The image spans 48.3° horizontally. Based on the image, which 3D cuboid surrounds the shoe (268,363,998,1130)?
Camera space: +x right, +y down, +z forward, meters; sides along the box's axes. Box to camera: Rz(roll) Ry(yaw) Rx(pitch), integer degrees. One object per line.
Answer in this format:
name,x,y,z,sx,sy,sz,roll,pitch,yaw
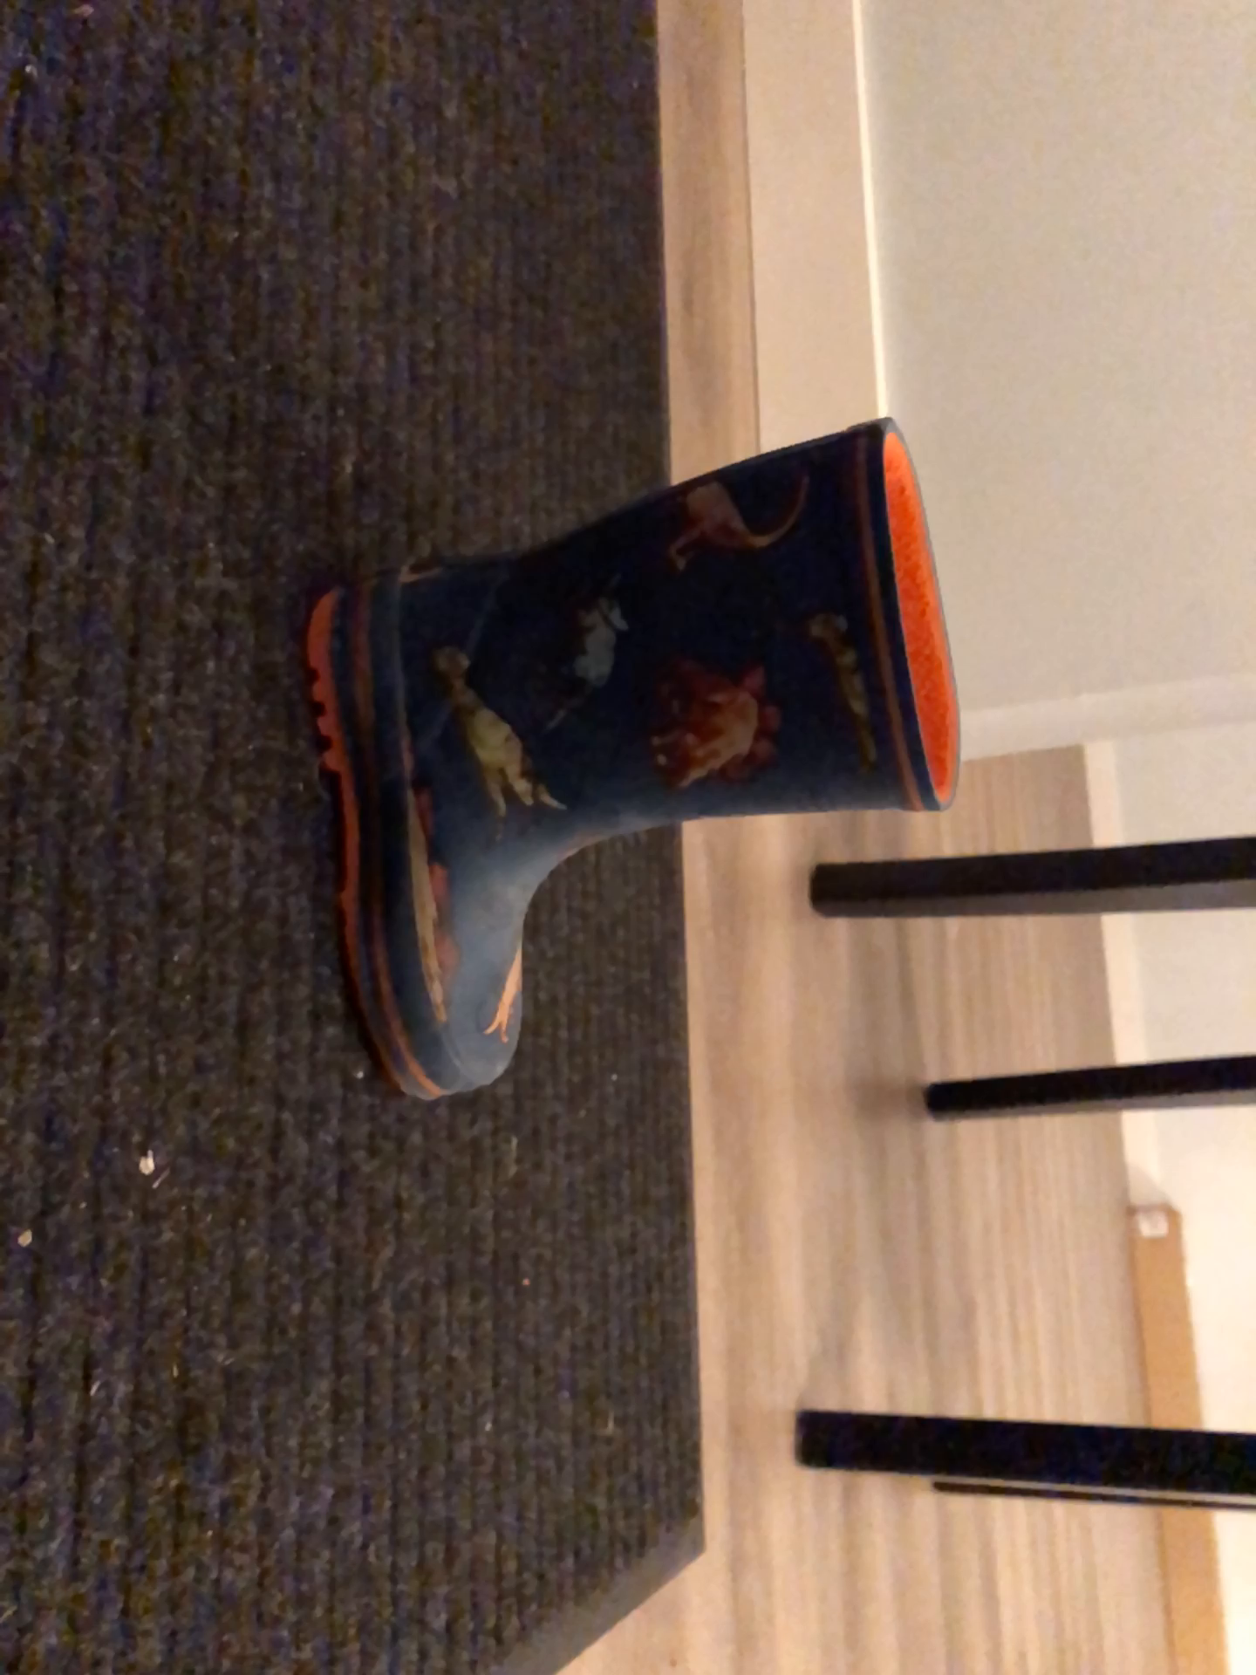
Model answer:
shoe,0.005,-0.019,0.426,0.080,0.179,0.190,-19,101,-69
